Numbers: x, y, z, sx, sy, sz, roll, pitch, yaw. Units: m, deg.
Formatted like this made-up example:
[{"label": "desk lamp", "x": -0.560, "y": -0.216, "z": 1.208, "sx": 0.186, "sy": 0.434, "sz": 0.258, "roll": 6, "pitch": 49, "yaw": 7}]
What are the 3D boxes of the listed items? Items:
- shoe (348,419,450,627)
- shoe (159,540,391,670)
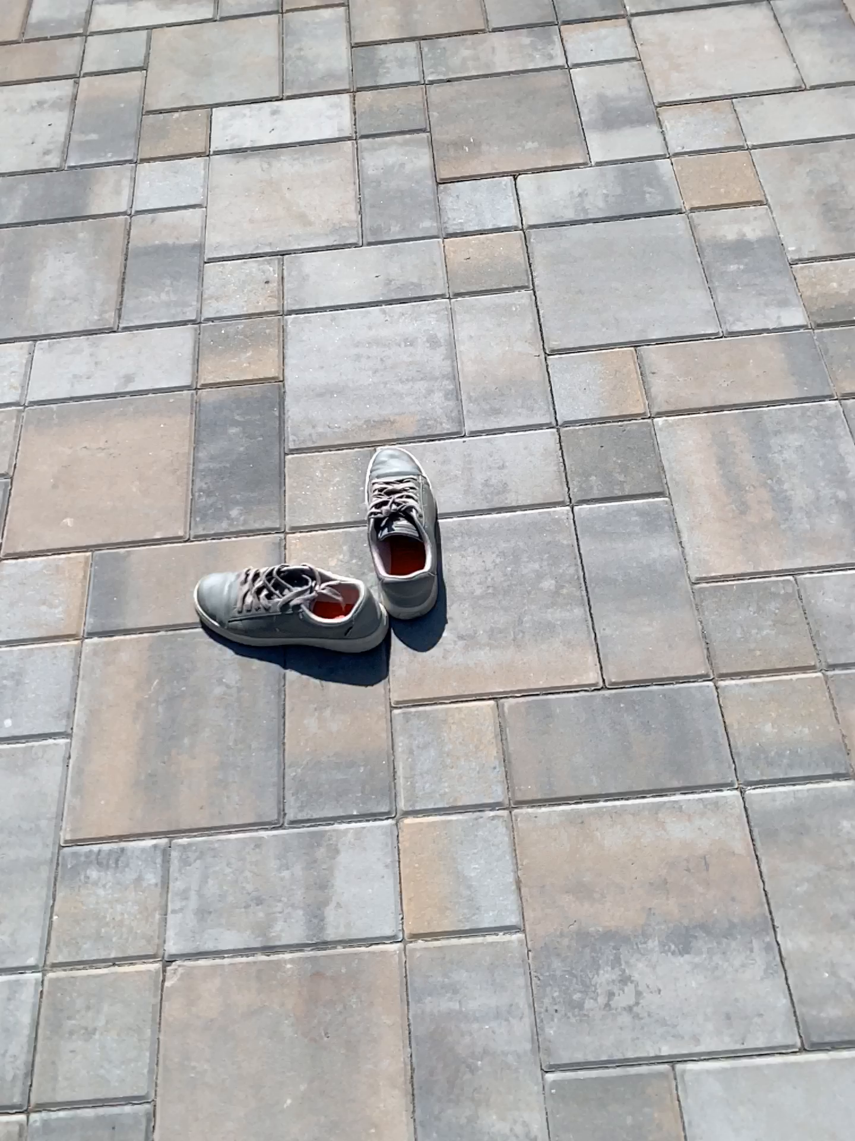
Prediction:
[{"label": "shoe", "x": -0.046, "y": -0.076, "z": 1.327, "sx": 0.120, "sy": 0.090, "sz": 0.301, "roll": -7, "pitch": 63, "yaw": -1}, {"label": "shoe", "x": -0.215, "y": 0.051, "z": 1.270, "sx": 0.300, "sy": 0.110, "sz": 0.120, "roll": 7, "pitch": 64, "yaw": 7}]
